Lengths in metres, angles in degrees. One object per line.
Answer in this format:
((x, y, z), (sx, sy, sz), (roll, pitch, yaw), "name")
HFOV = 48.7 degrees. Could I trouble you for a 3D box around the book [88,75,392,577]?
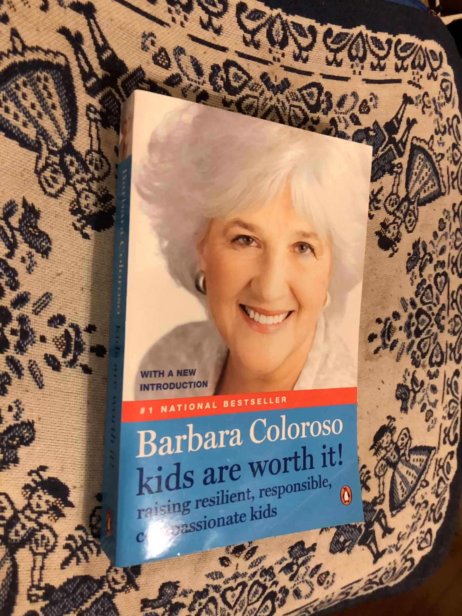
((0.009, 0.011, 0.282), (0.150, 0.050, 0.220), (3, 91, -30), "book")
